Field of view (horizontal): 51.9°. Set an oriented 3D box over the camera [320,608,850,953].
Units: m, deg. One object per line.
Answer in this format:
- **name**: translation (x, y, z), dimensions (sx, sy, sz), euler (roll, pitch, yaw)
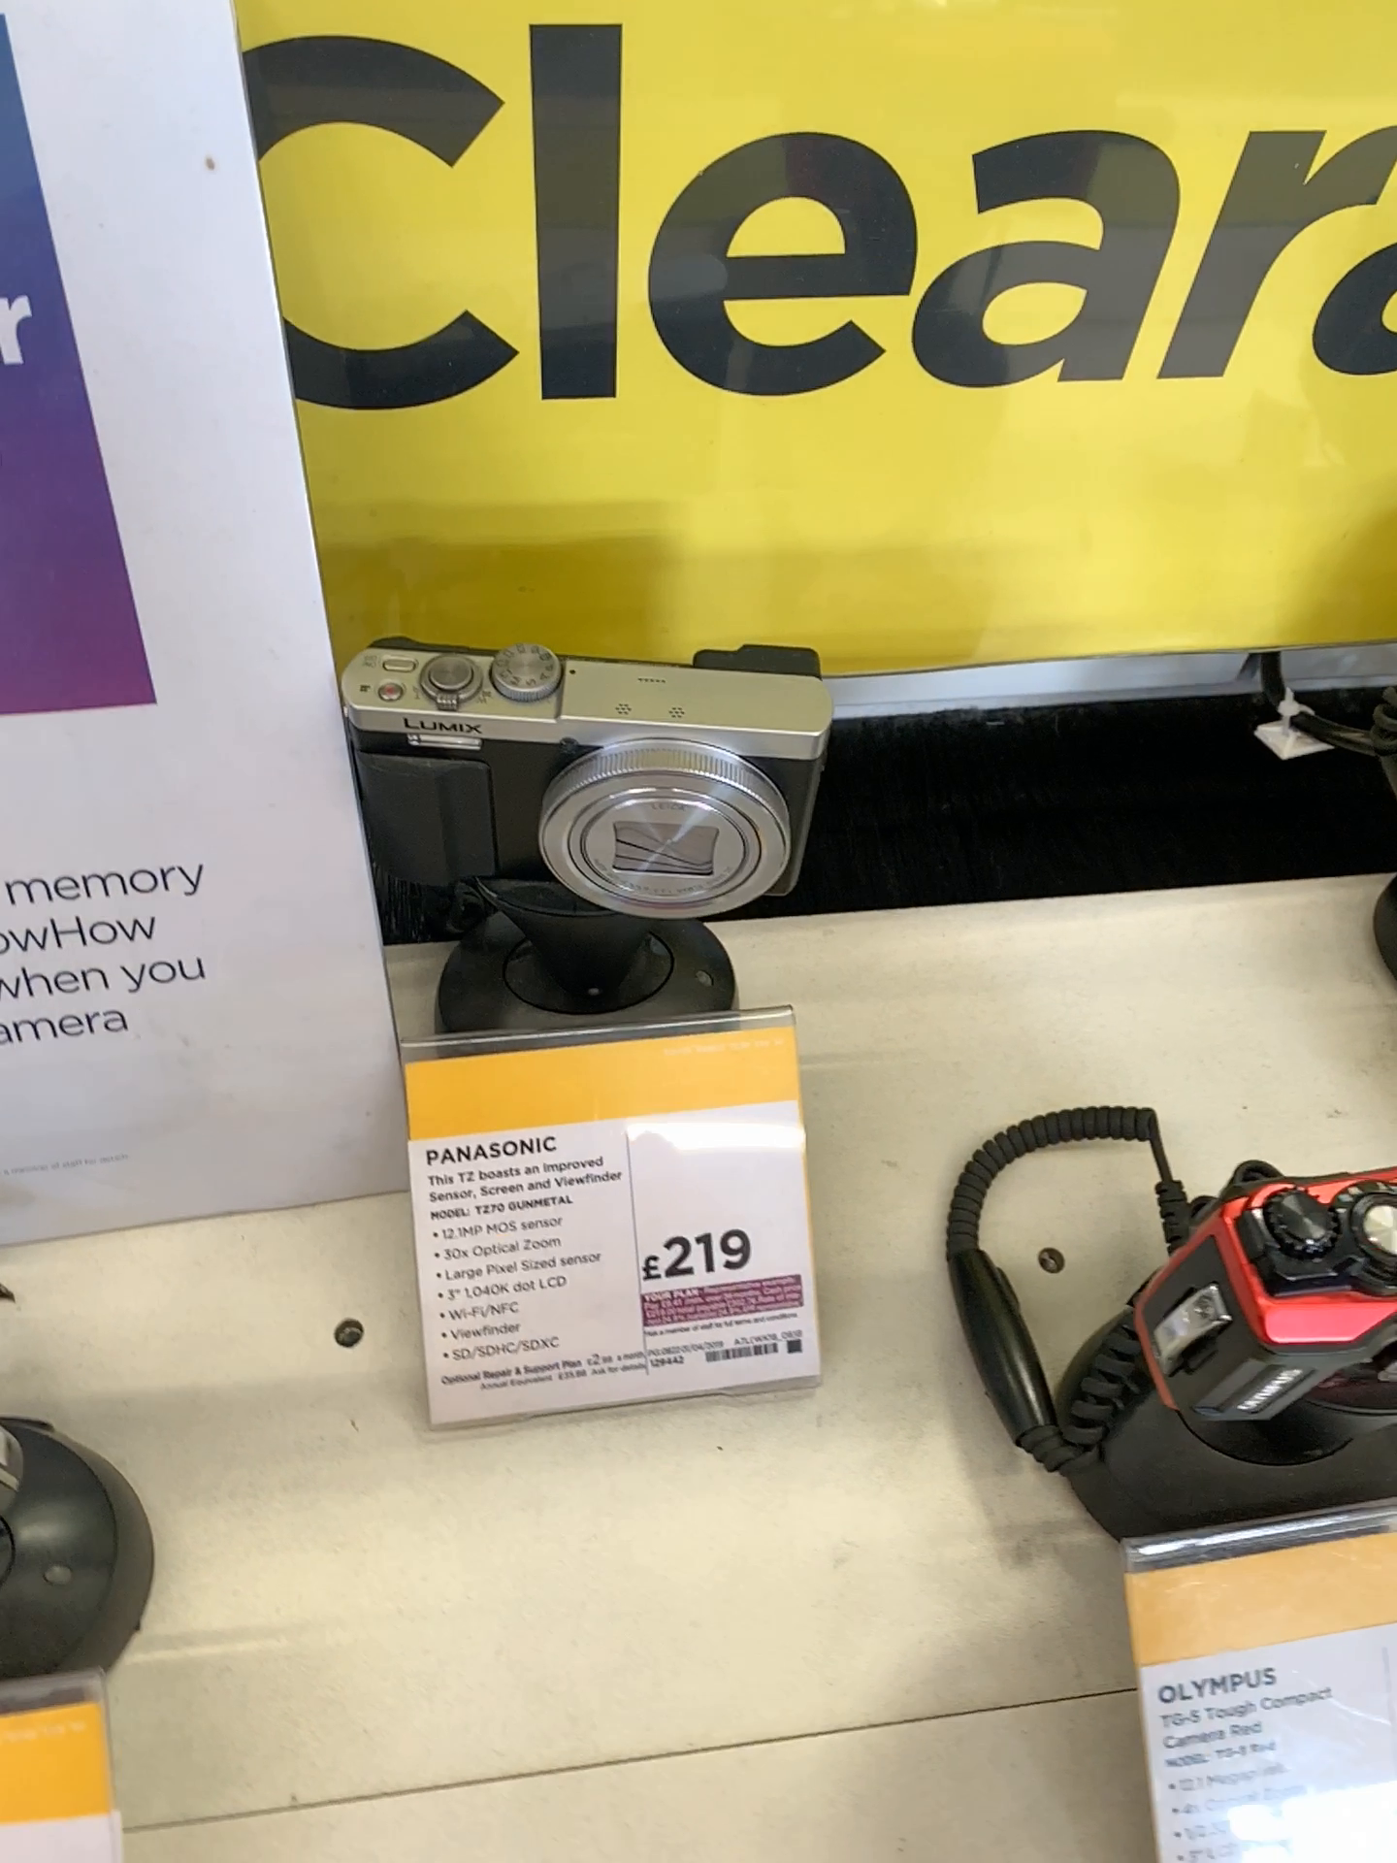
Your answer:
- **camera**: translation (-0.025, -0.033, 0.339), dimensions (0.110, 0.069, 0.040), euler (3, 56, -2)
